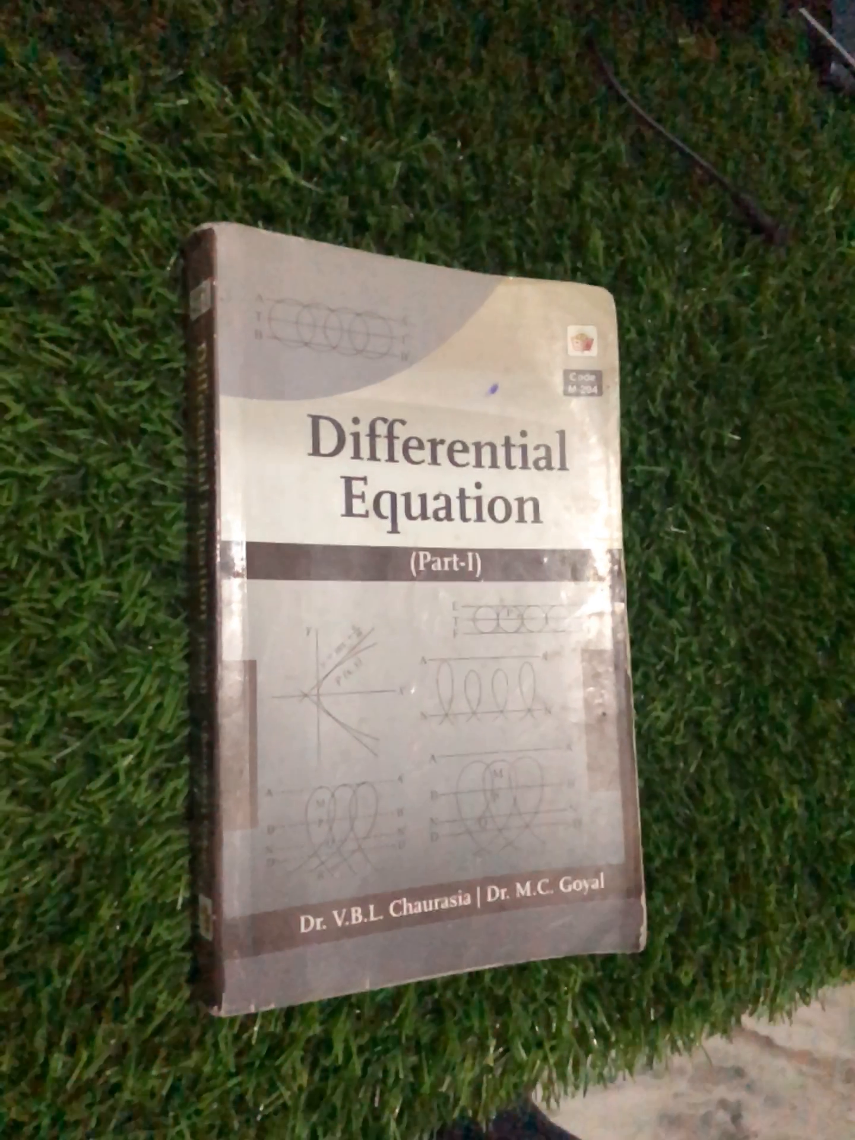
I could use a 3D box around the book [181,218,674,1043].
[{"bbox_3d":[0.003,0.013,0.279,0.141,0.030,0.200,1,83,-29],"label":"book"}]
